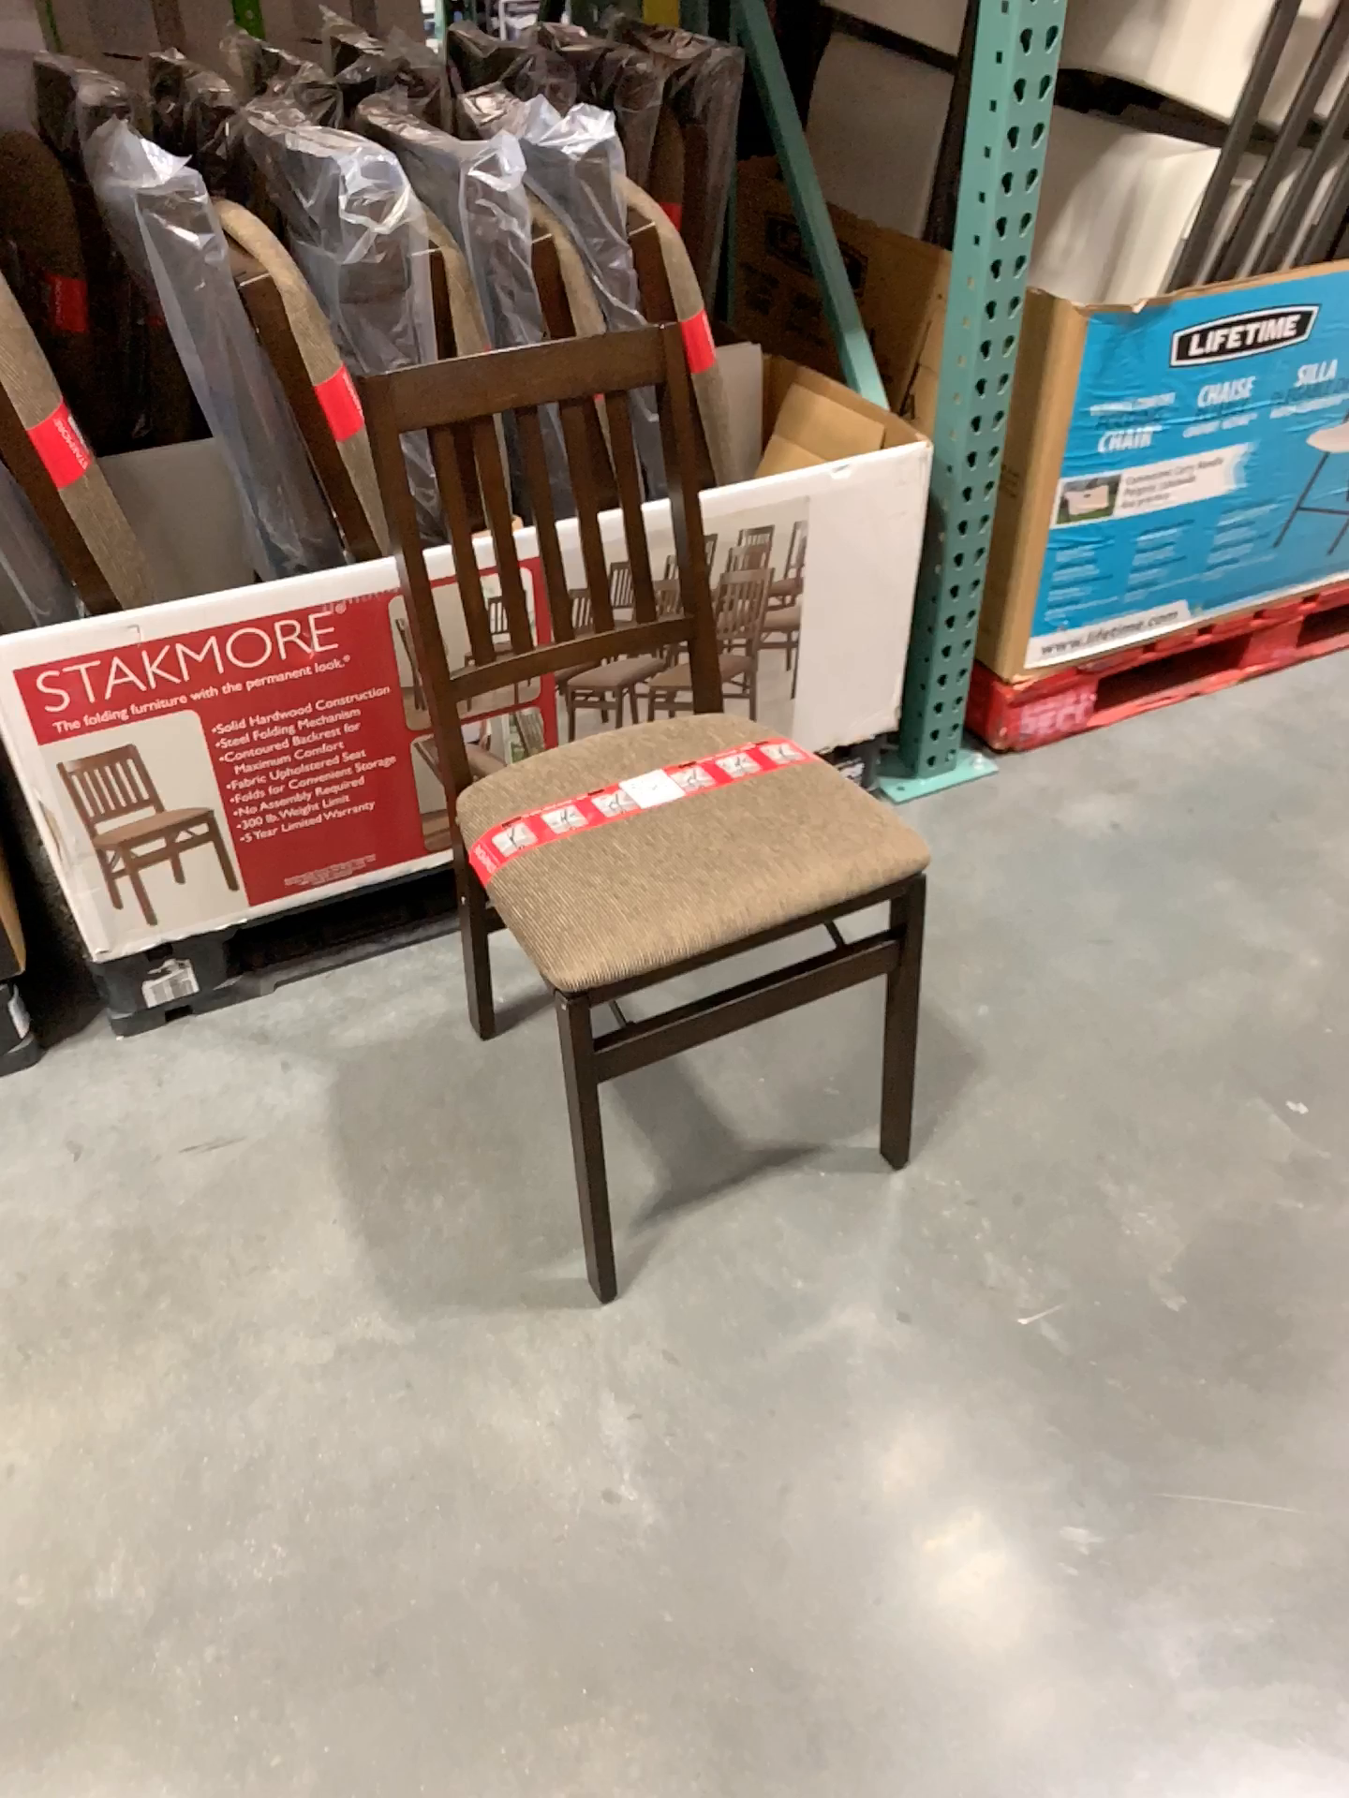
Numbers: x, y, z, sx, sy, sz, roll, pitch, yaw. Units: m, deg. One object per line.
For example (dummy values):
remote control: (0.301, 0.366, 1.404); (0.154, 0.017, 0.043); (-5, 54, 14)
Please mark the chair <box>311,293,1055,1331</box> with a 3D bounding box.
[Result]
chair: (-0.022, -0.094, 1.458); (0.421, 0.837, 0.574); (-19, 43, -21)
